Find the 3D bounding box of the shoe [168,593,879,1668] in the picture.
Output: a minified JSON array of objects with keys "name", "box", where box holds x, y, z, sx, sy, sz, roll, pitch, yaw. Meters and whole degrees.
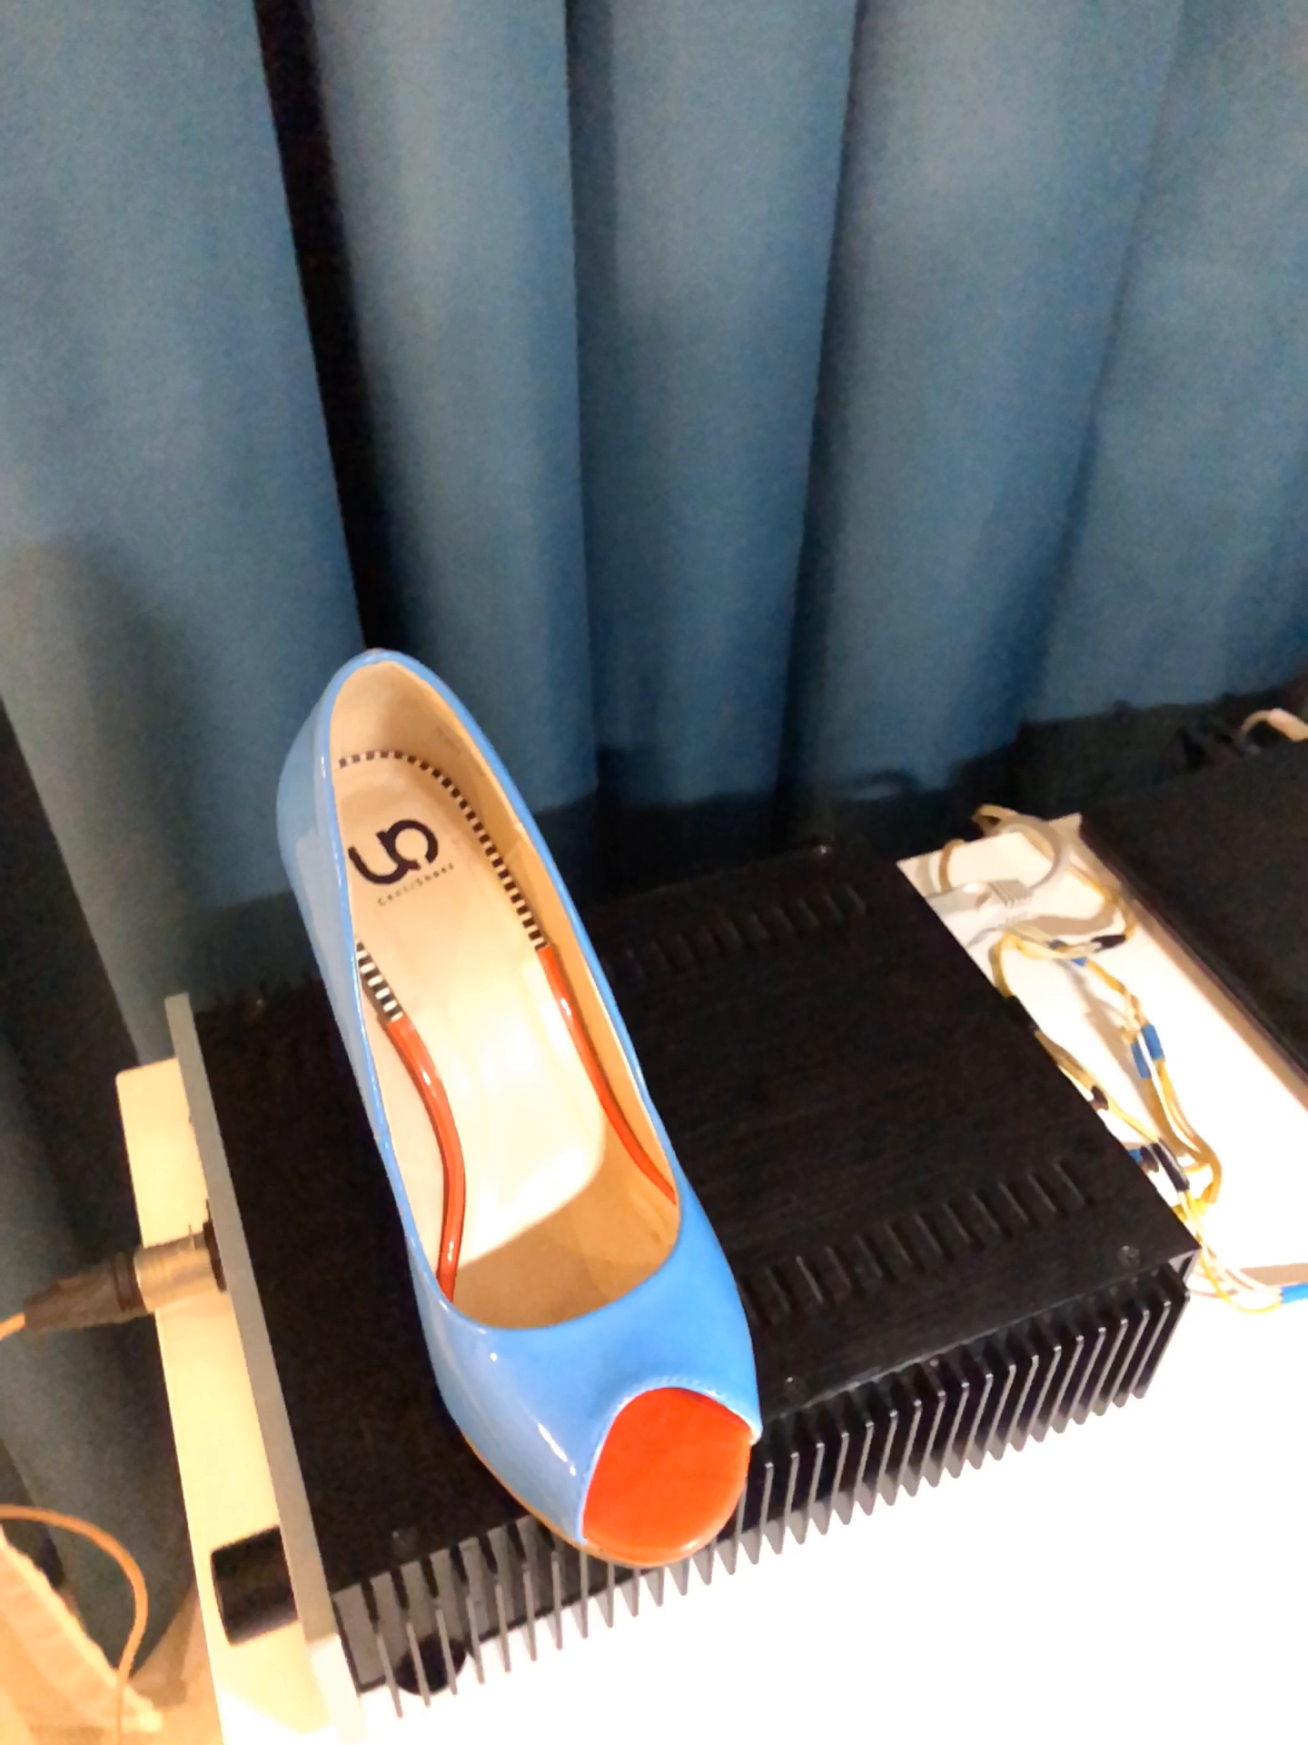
[{"name":"shoe","box":[-0.044,0.053,0.377,0.080,0.149,0.221,-19,45,-20]}]
